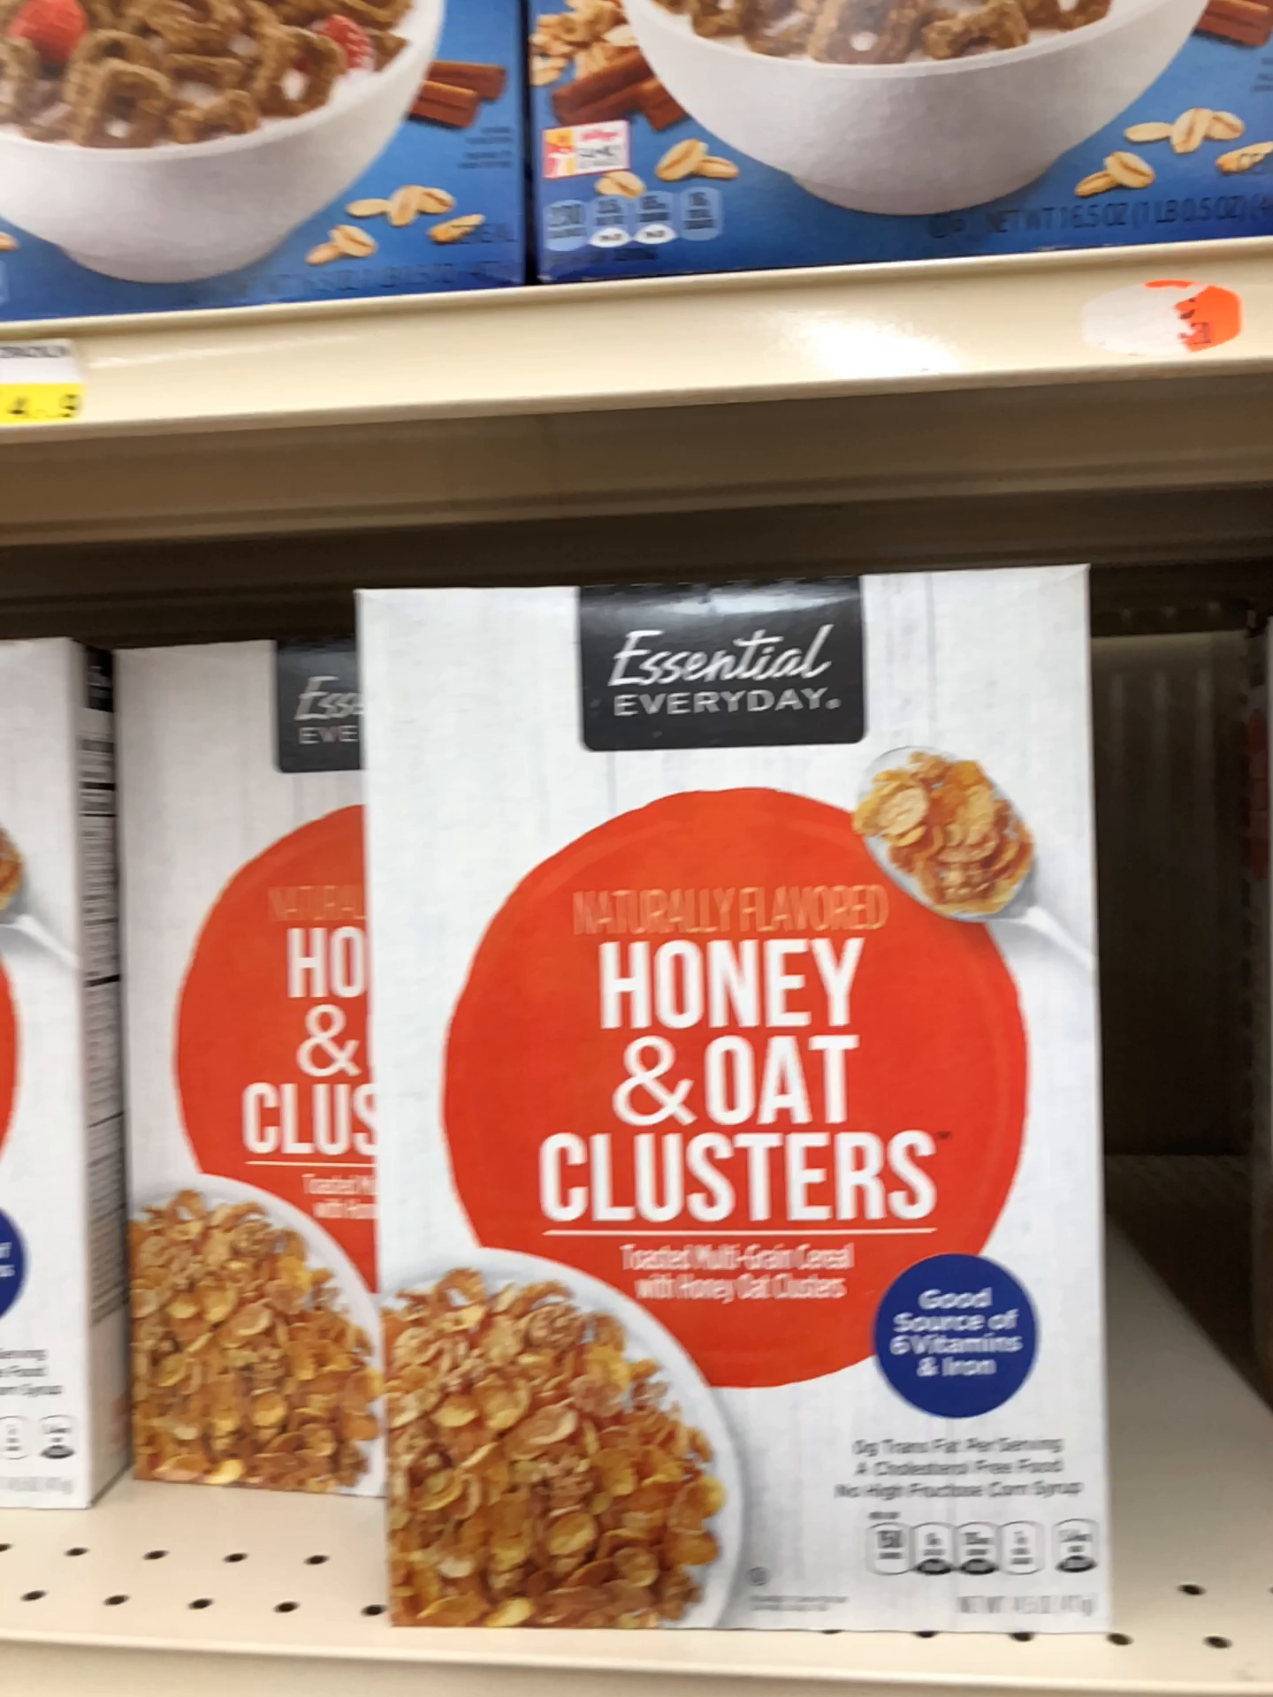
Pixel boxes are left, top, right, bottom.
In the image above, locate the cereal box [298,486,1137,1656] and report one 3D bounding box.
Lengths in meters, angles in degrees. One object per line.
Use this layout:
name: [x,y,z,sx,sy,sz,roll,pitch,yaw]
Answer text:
cereal box: [0.023,0.060,0.404,0.210,0.300,0.070,-2,2,5]
